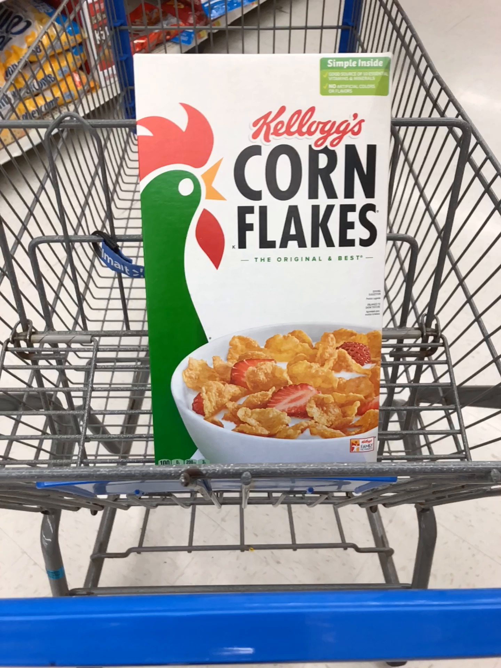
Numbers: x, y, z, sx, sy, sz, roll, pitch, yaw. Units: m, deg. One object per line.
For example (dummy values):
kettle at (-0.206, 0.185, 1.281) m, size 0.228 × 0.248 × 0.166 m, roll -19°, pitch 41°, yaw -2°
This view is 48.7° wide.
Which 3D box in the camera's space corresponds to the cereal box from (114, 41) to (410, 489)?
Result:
cereal box at (0.012, -0.047, 0.462) m, size 0.210 × 0.340 × 0.070 m, roll -2°, pitch 12°, yaw -1°
